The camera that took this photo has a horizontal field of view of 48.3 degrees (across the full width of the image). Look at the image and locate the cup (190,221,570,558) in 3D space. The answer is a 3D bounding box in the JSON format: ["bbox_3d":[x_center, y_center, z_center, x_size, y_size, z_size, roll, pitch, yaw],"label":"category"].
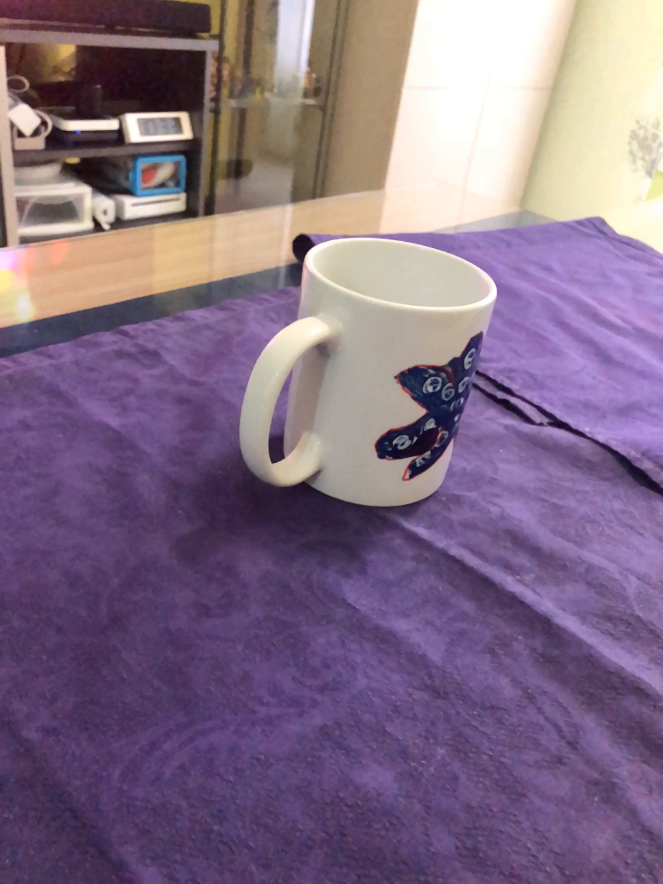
[{"bbox_3d":[0.019,-0.032,0.315,0.130,0.090,0.080,-21,43,-39],"label":"cup"}]
